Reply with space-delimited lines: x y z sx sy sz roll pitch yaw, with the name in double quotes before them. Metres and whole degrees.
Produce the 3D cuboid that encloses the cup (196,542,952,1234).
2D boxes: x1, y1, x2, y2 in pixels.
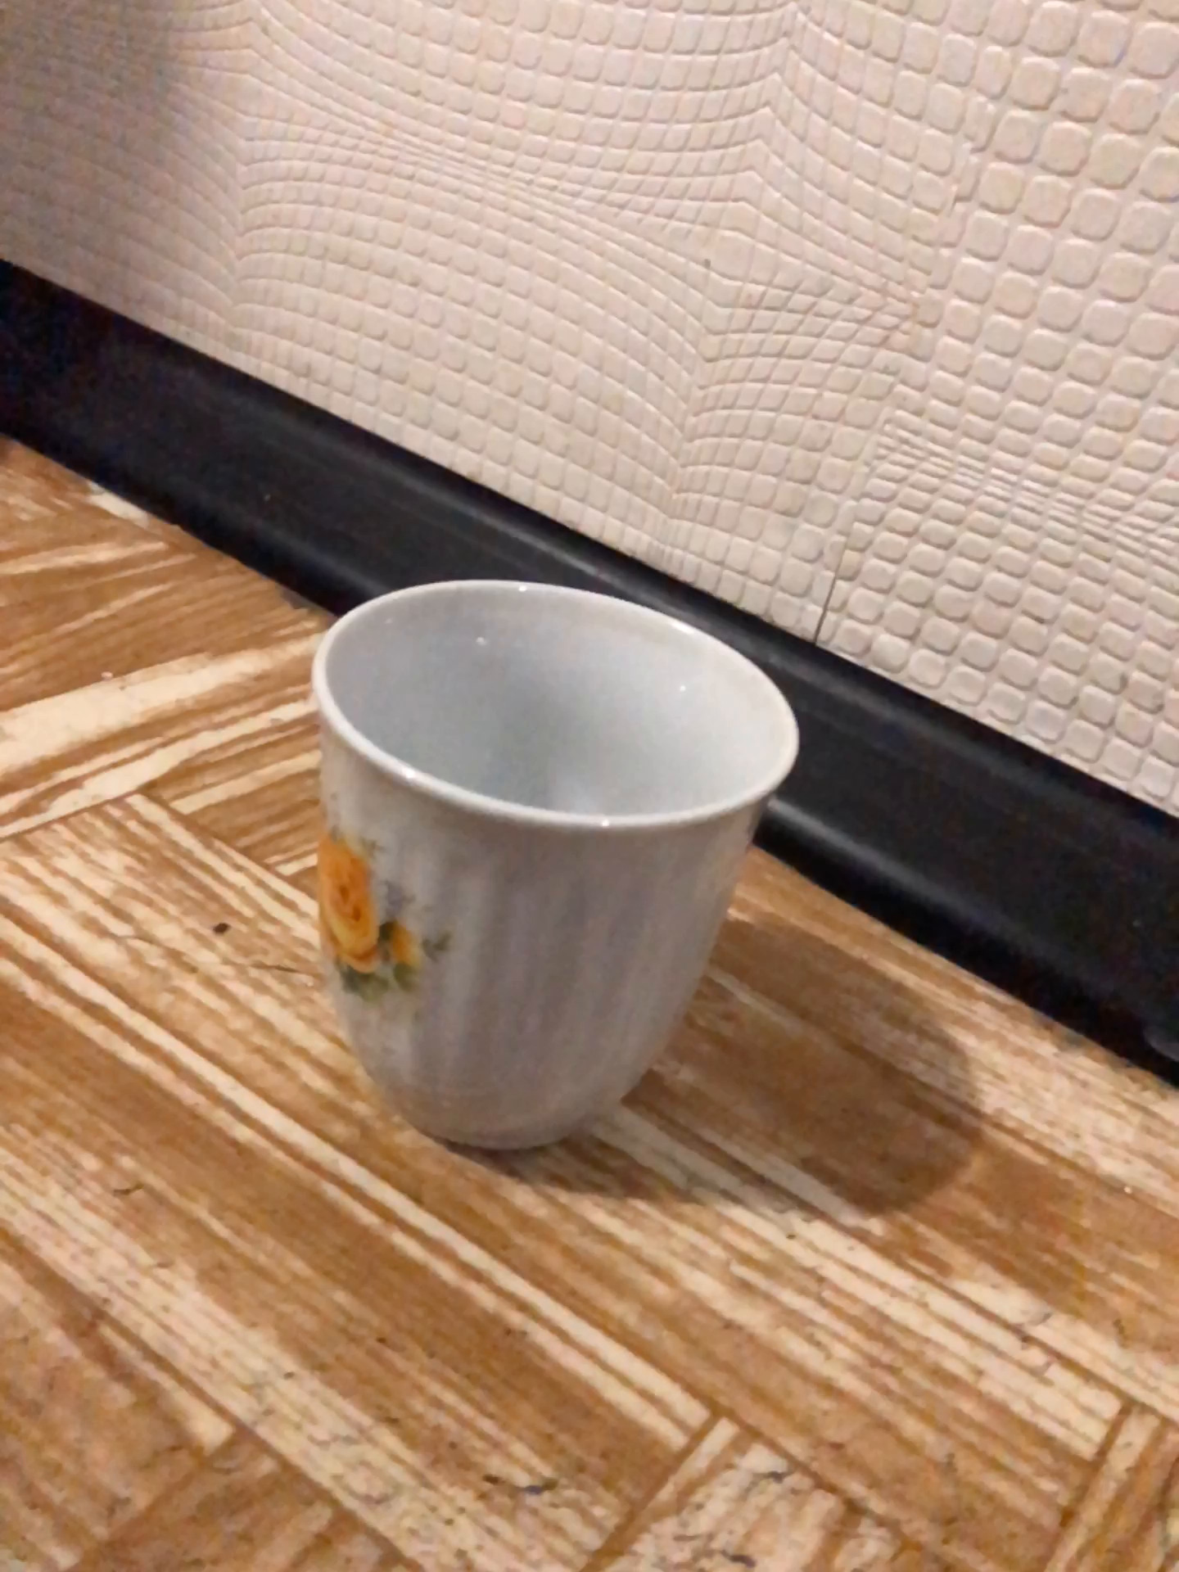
"cup" -0.011 0.008 0.239 0.094 0.068 0.097 9 32 -6
